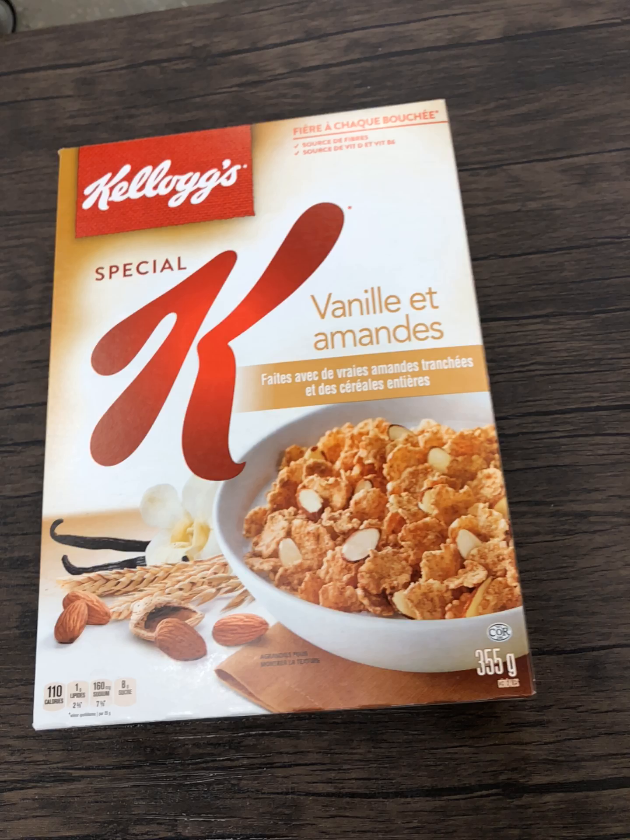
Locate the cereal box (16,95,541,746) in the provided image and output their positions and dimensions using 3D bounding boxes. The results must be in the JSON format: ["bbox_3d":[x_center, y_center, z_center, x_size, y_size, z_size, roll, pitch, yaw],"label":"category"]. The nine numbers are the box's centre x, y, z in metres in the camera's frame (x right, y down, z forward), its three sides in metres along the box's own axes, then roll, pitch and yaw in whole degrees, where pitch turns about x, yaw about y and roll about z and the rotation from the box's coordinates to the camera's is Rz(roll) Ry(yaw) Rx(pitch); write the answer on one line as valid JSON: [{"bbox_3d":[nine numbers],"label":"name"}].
[{"bbox_3d":[-0.023,-0.005,0.330,0.200,0.060,0.270,-5,75,4],"label":"cereal box"}]
